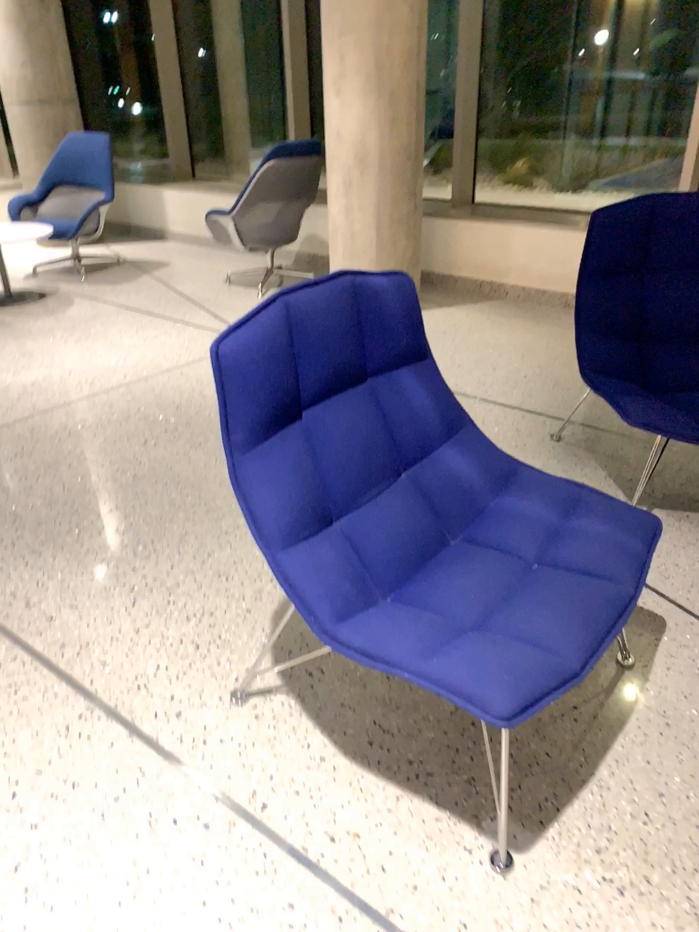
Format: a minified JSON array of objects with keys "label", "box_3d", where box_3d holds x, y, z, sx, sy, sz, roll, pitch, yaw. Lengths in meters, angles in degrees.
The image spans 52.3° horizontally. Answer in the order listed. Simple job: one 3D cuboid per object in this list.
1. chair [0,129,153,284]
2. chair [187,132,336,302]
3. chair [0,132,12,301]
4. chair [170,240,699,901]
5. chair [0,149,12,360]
[{"label":"chair","box_3d":[-2.114,-1.983,5.380,0.781,0.972,0.765,11,30,21]},{"label":"chair","box_3d":[-0.598,-1.771,4.991,0.643,0.962,0.773,-26,38,-38]},{"label":"chair","box_3d":[-2.937,-1.728,4.852,0.772,0.942,0.674,18,33,31]},{"label":"chair","box_3d":[0.246,0.098,1.552,0.782,0.933,0.812,19,34,33]},{"label":"chair","box_3d":[-2.595,-1.230,4.006,0.802,0.933,0.775,17,33,31]}]
